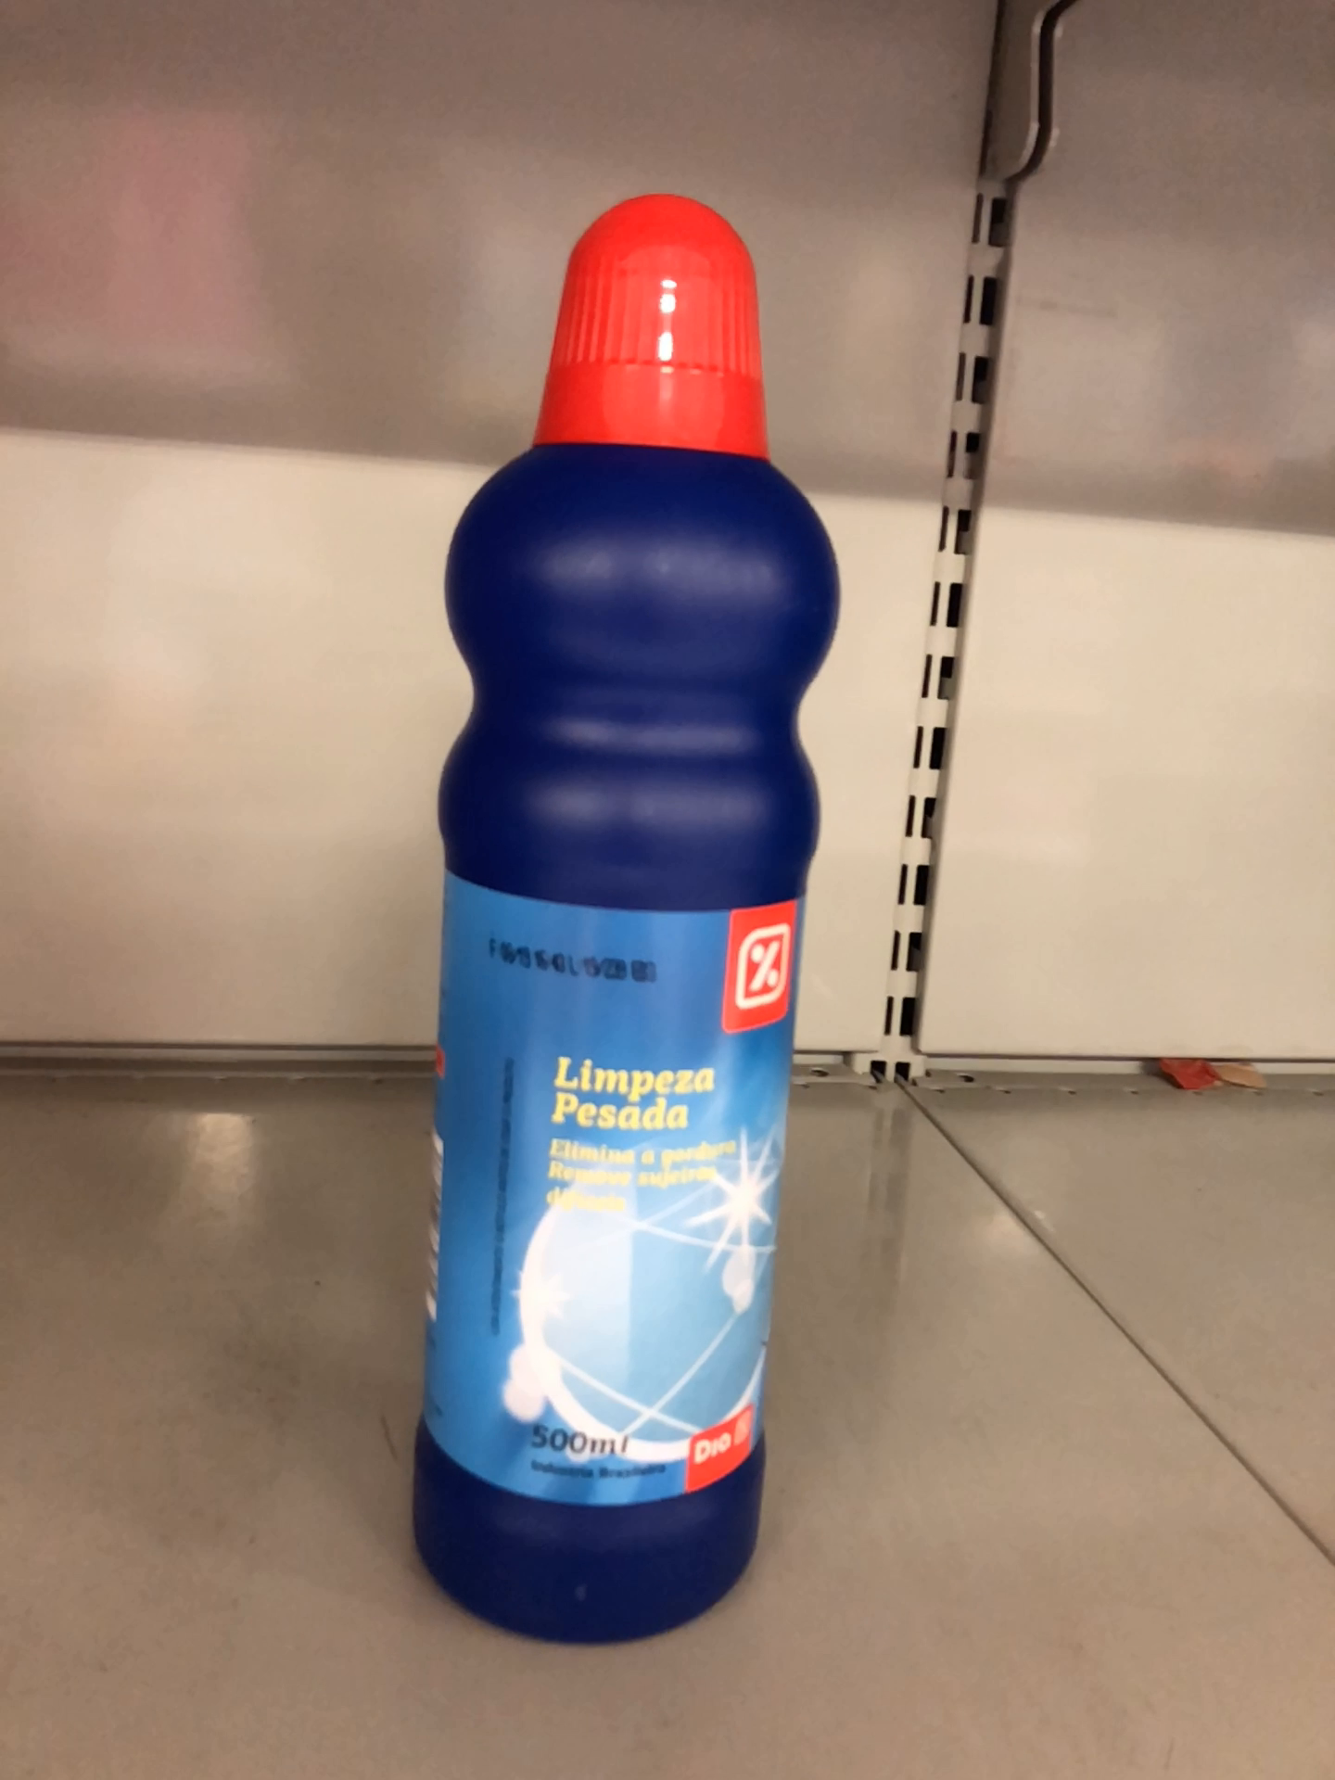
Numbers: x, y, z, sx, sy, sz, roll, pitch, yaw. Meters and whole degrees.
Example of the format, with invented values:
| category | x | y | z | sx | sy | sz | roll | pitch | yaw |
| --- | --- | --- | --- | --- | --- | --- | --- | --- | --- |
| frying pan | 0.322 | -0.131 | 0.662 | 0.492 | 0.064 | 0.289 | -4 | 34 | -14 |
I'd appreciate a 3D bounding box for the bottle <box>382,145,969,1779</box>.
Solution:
| category | x | y | z | sx | sy | sz | roll | pitch | yaw |
| --- | --- | --- | --- | --- | --- | --- | --- | --- | --- |
| bottle | -0.008 | 0.017 | 0.248 | 0.070 | 0.239 | 0.070 | 3 | 13 | -1 |
